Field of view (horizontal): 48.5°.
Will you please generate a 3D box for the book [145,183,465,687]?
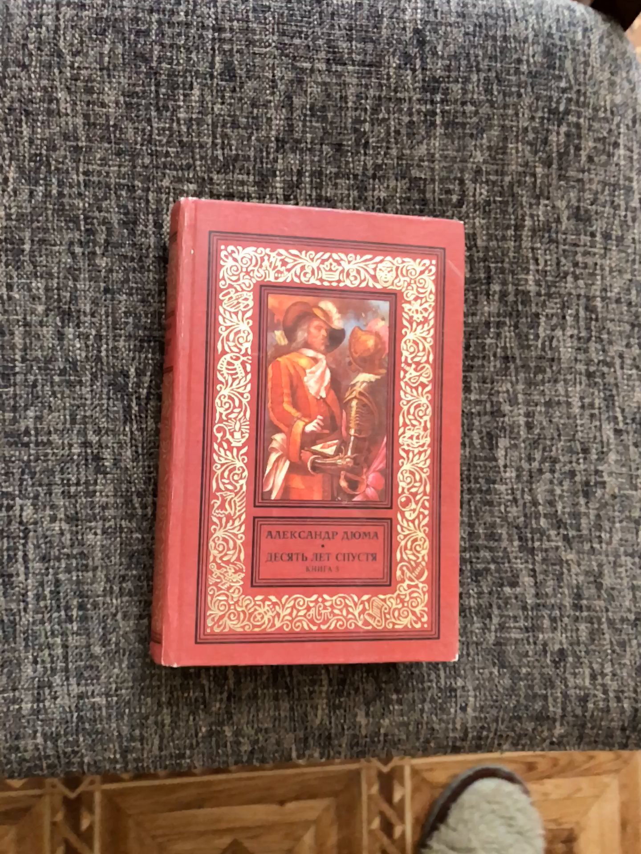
[{"bbox_3d":[-0.006,0.004,0.318,0.131,0.038,0.206,2,86,-8],"label":"book"}]
